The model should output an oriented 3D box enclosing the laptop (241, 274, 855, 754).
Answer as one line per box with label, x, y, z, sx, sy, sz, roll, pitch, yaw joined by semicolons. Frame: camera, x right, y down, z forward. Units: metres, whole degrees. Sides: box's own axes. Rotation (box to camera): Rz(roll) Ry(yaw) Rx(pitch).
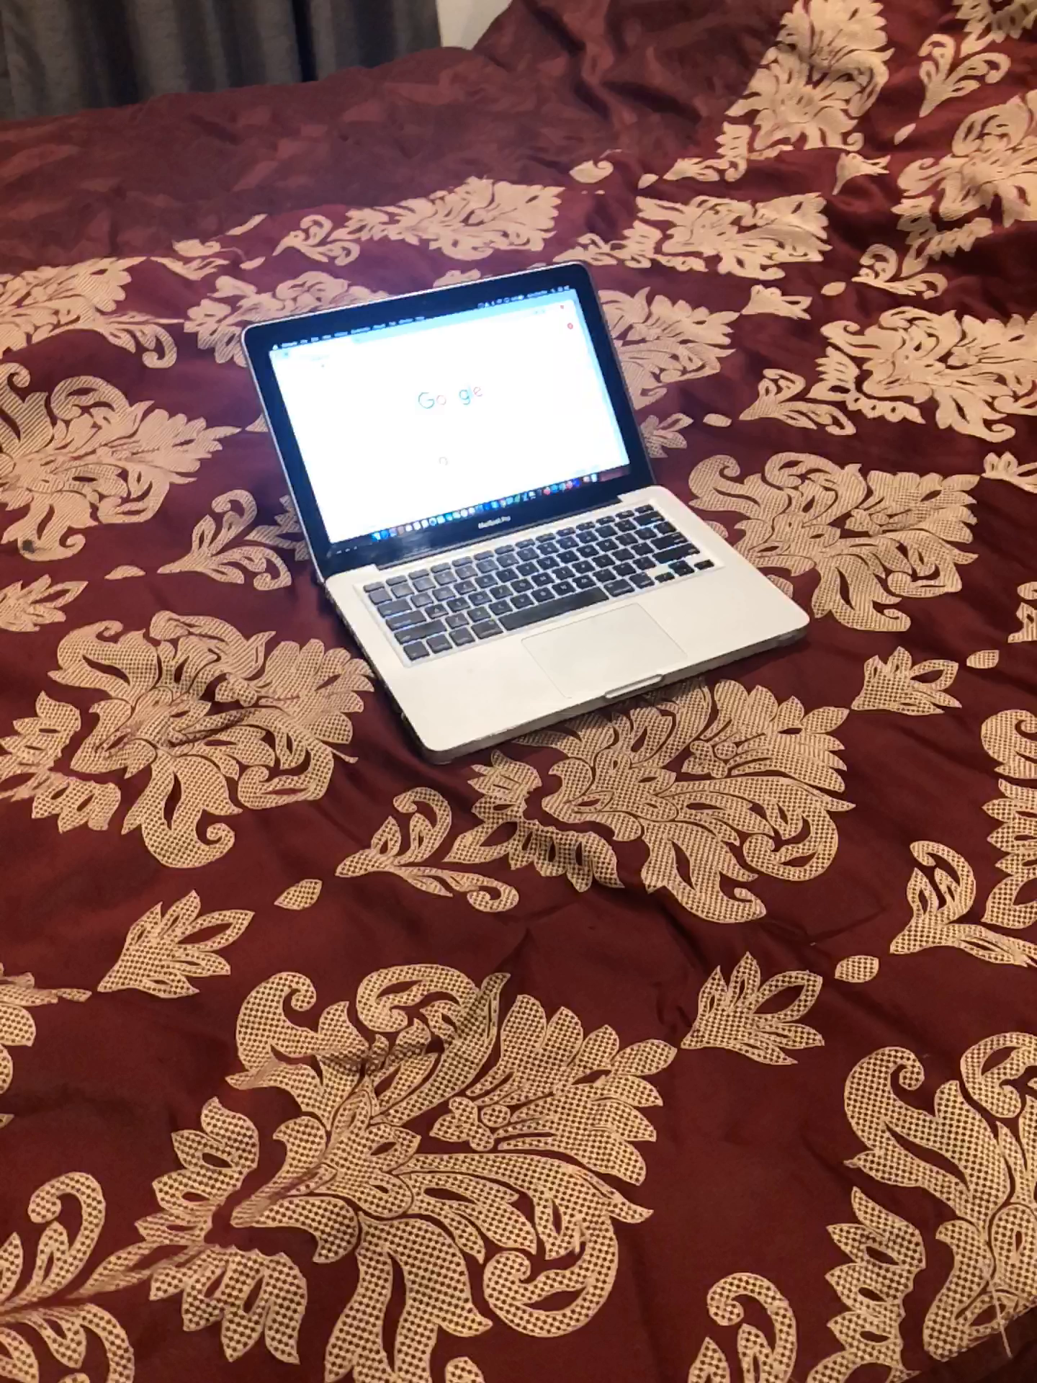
laptop;0.003;-0.153;0.826;0.292;0.133;0.344;-18;45;-20
